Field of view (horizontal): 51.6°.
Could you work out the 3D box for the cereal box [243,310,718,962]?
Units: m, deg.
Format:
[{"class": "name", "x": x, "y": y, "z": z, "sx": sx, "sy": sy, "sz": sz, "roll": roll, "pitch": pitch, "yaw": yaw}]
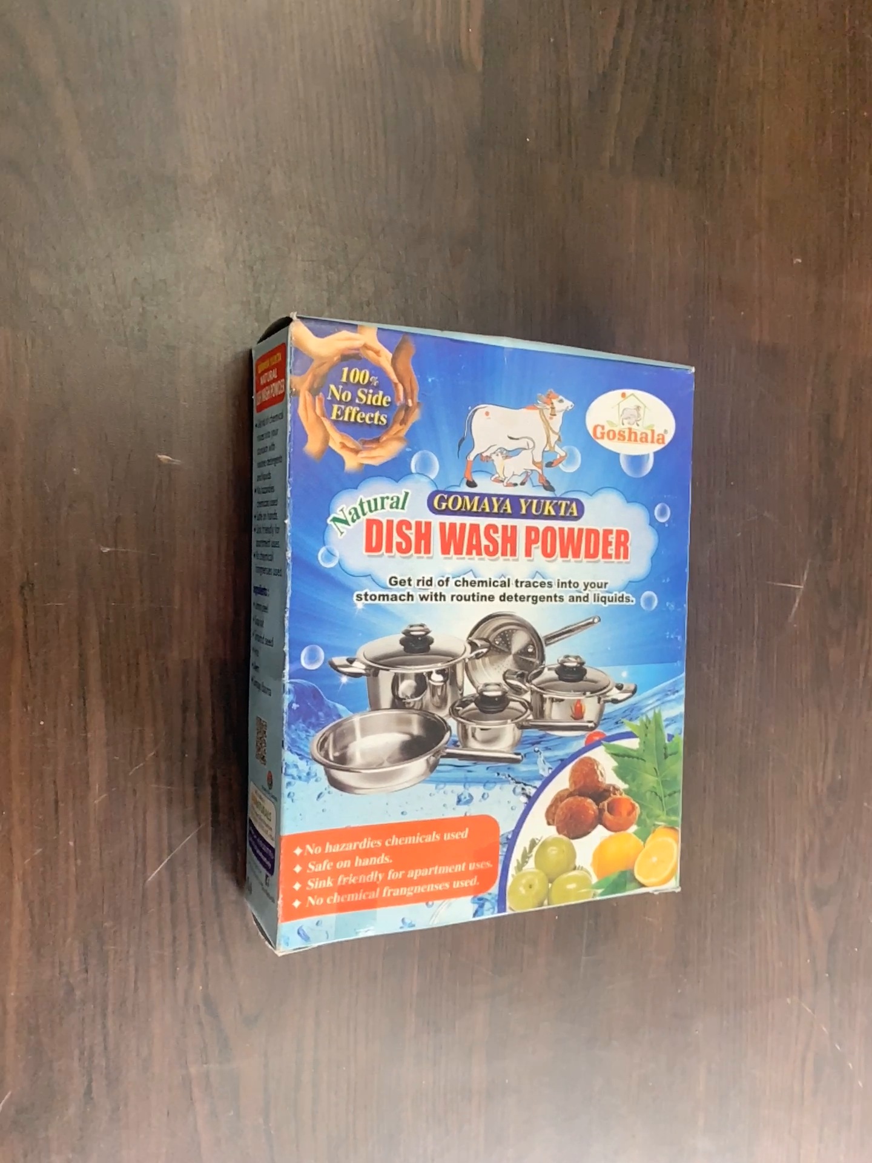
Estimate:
[{"class": "cereal box", "x": 0.014, "y": 0.015, "z": 0.290, "sx": 0.140, "sy": 0.060, "sz": 0.170, "roll": 0, "pitch": 90, "yaw": -23}]
